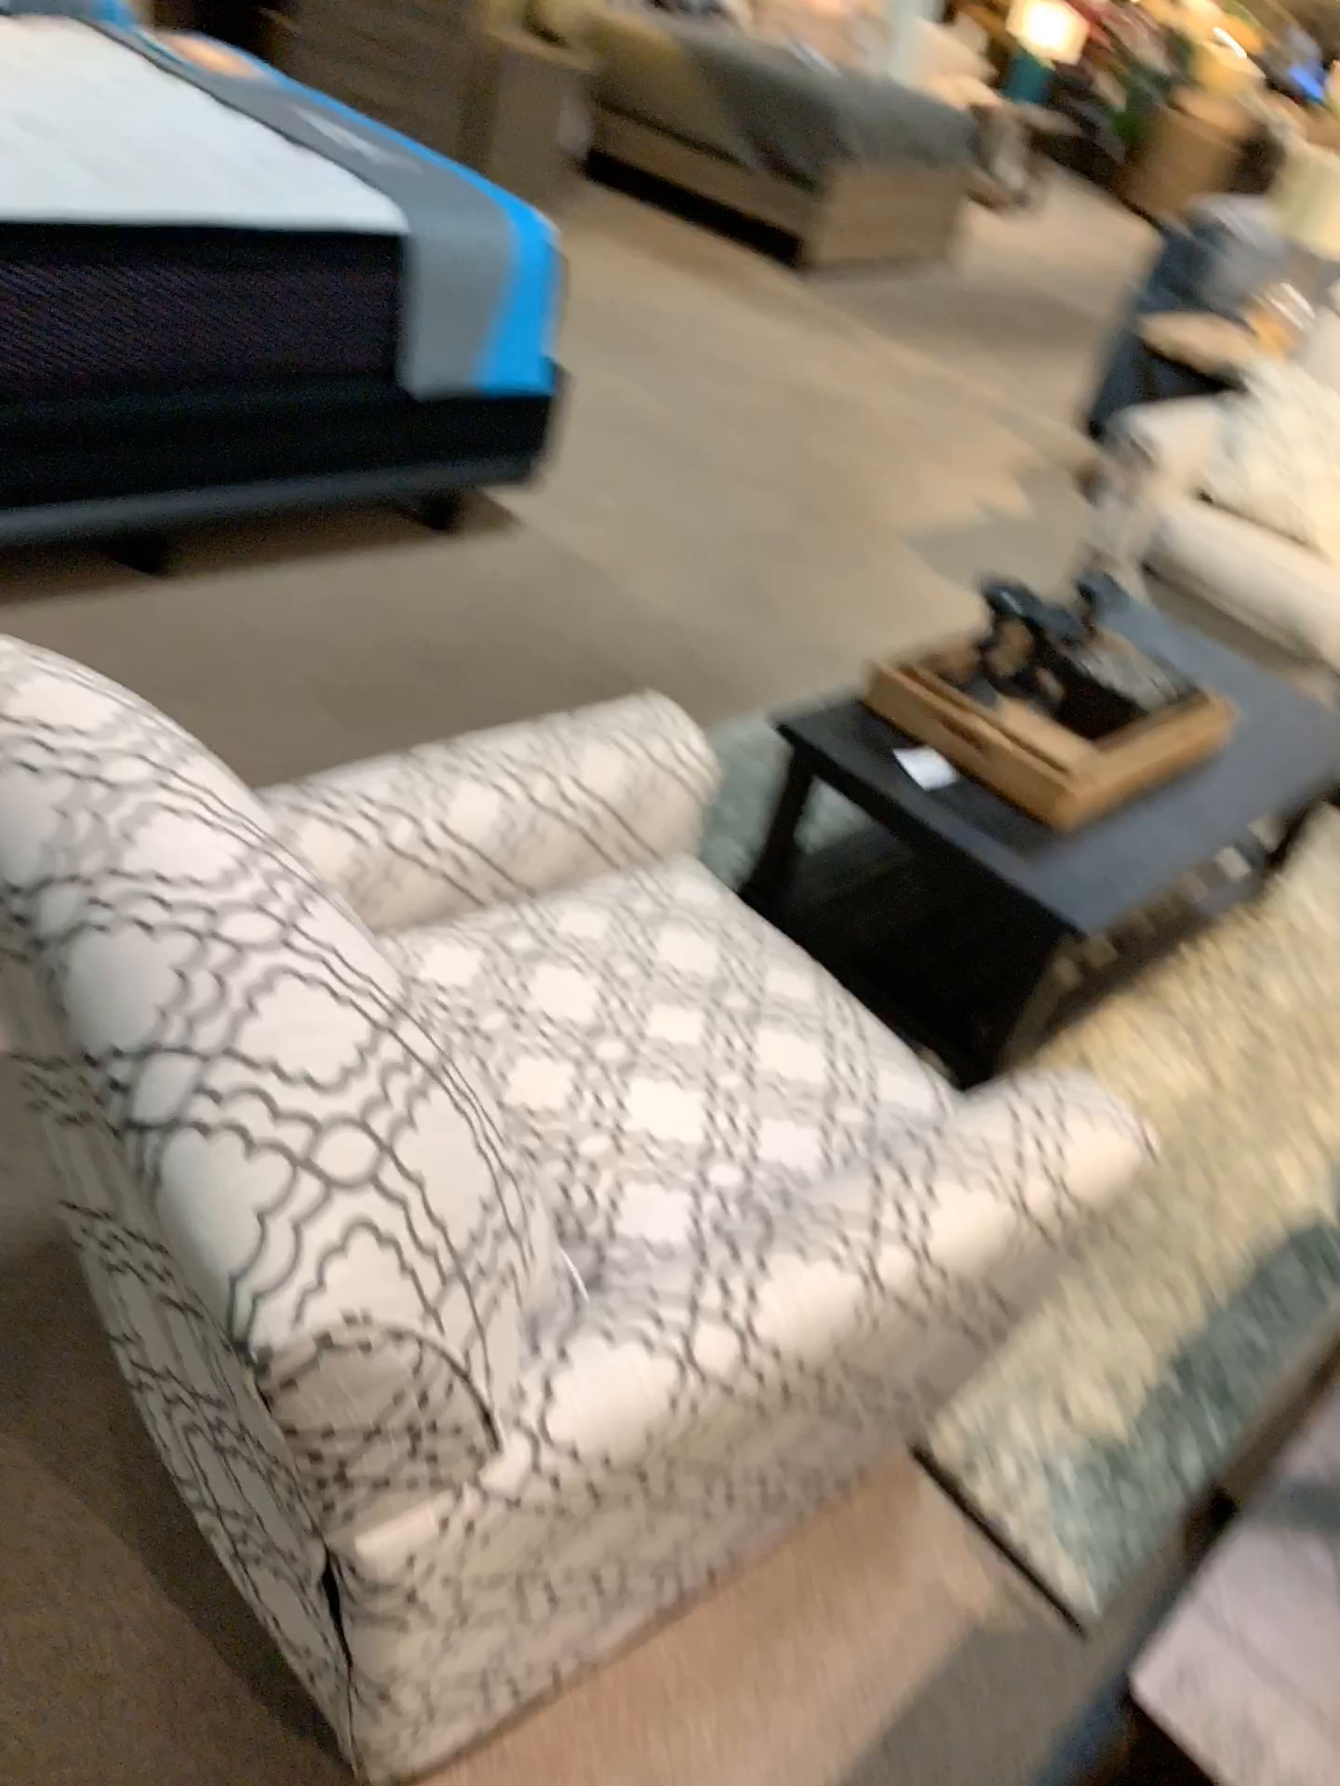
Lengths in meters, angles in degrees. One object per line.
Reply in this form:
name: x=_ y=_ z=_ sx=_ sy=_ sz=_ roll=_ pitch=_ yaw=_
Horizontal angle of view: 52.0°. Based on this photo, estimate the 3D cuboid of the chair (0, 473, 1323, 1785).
chair: x=-0.163 y=0.188 z=1.385 sx=0.967 sy=0.847 sz=0.876 roll=-16 pitch=47 yaw=-37
